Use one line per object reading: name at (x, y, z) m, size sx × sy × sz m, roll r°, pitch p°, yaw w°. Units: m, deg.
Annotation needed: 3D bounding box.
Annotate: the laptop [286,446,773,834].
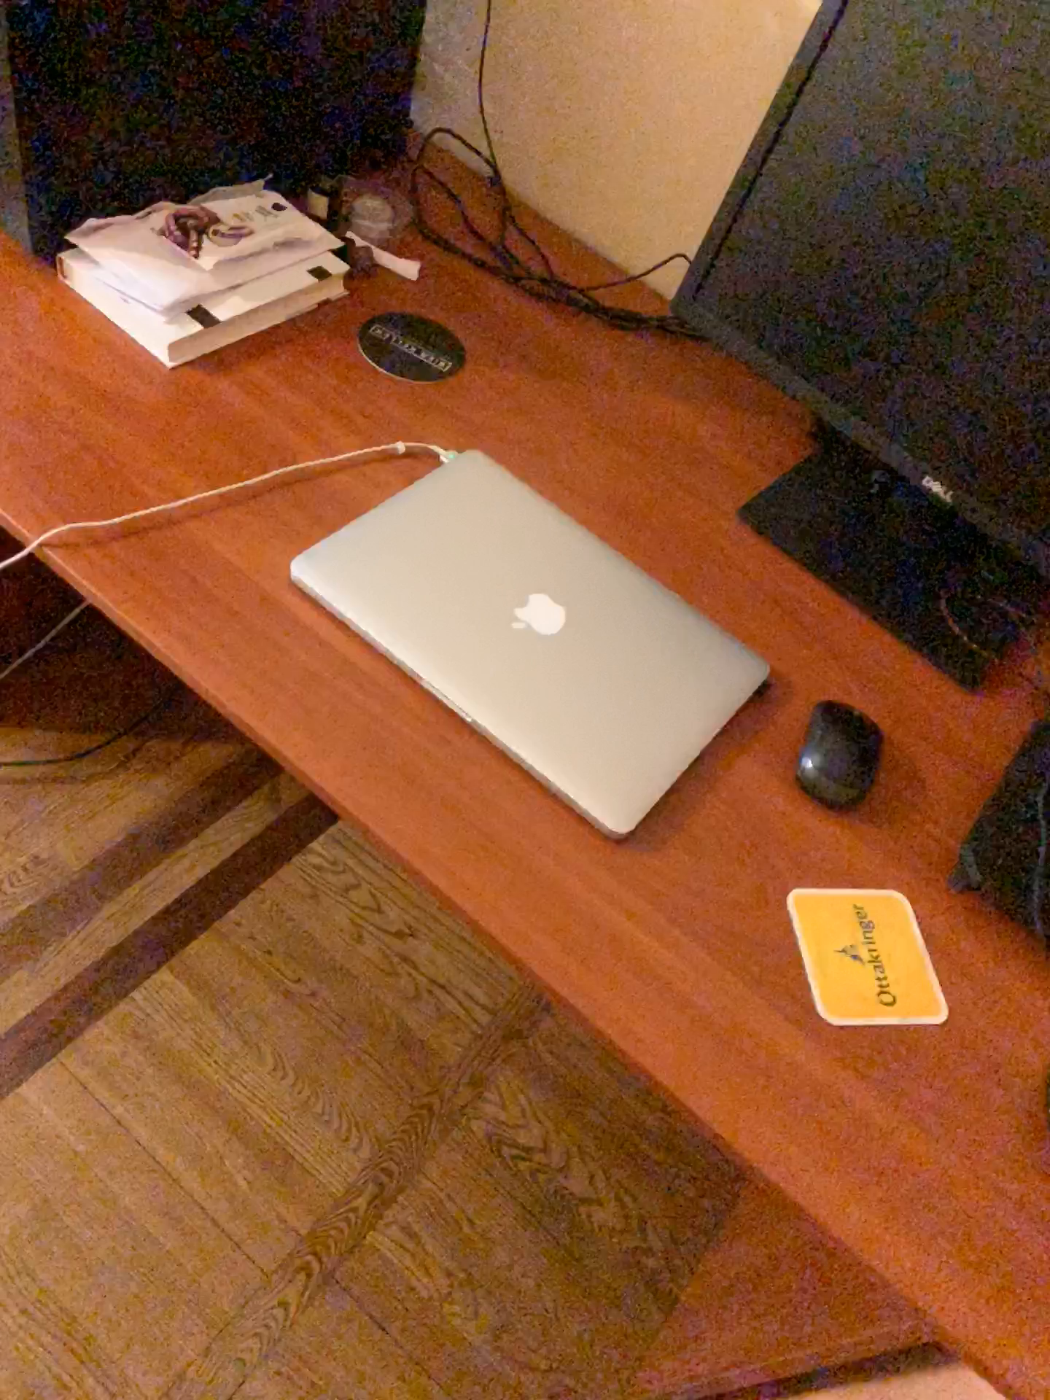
laptop at (0.010, -0.062, 0.789) m, size 0.306 × 0.001 × 0.214 m, roll 39°, pitch 52°, yaw 13°
